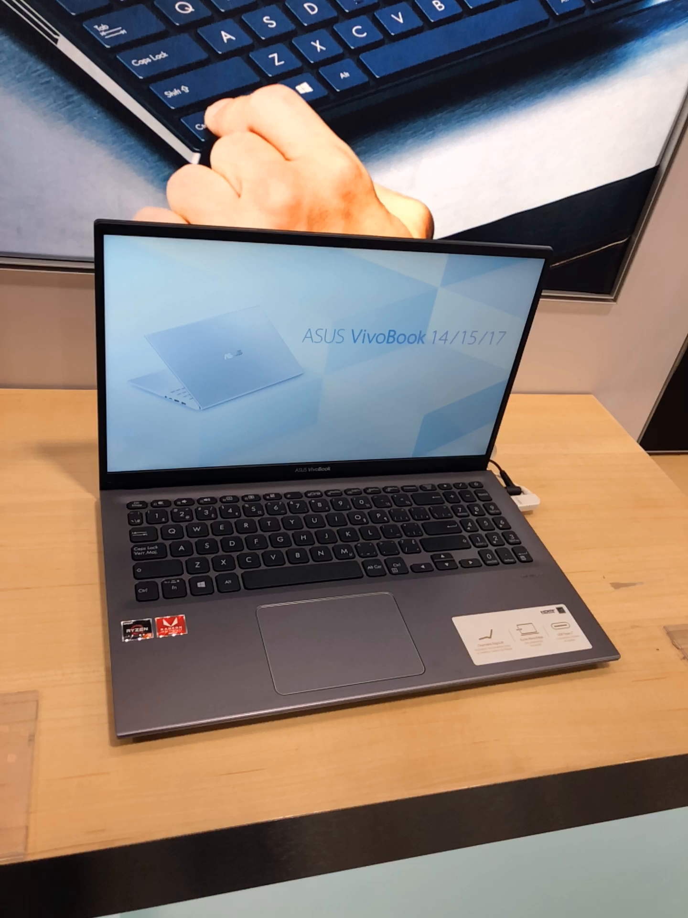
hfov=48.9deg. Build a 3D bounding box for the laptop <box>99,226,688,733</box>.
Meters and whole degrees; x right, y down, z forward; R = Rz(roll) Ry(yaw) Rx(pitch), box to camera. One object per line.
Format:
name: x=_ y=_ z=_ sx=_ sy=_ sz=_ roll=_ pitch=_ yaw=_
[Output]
laptop: x=0.021 y=-0.004 z=0.522 sx=0.349 sy=0.211 sz=0.242 roll=-2 pitch=37 yaw=-19
